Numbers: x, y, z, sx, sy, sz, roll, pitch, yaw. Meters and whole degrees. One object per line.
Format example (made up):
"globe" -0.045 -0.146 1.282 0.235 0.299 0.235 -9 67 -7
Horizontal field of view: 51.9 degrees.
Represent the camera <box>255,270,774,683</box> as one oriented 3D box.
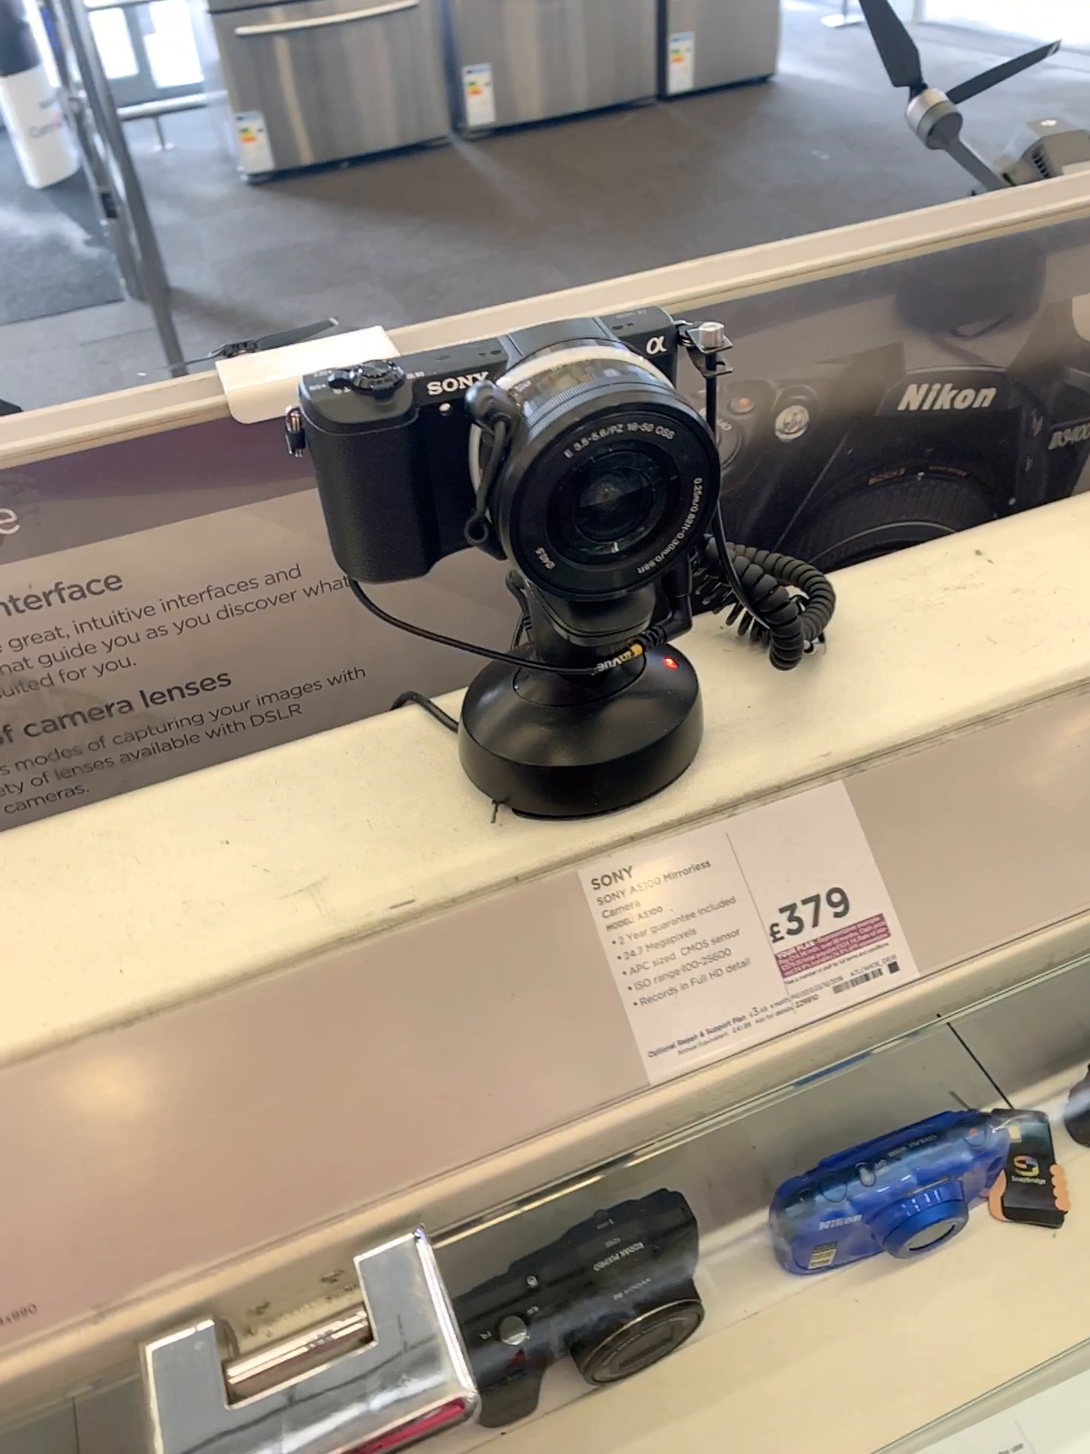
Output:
"camera" -0.010 -0.075 0.319 0.120 0.059 0.081 -16 44 -11
